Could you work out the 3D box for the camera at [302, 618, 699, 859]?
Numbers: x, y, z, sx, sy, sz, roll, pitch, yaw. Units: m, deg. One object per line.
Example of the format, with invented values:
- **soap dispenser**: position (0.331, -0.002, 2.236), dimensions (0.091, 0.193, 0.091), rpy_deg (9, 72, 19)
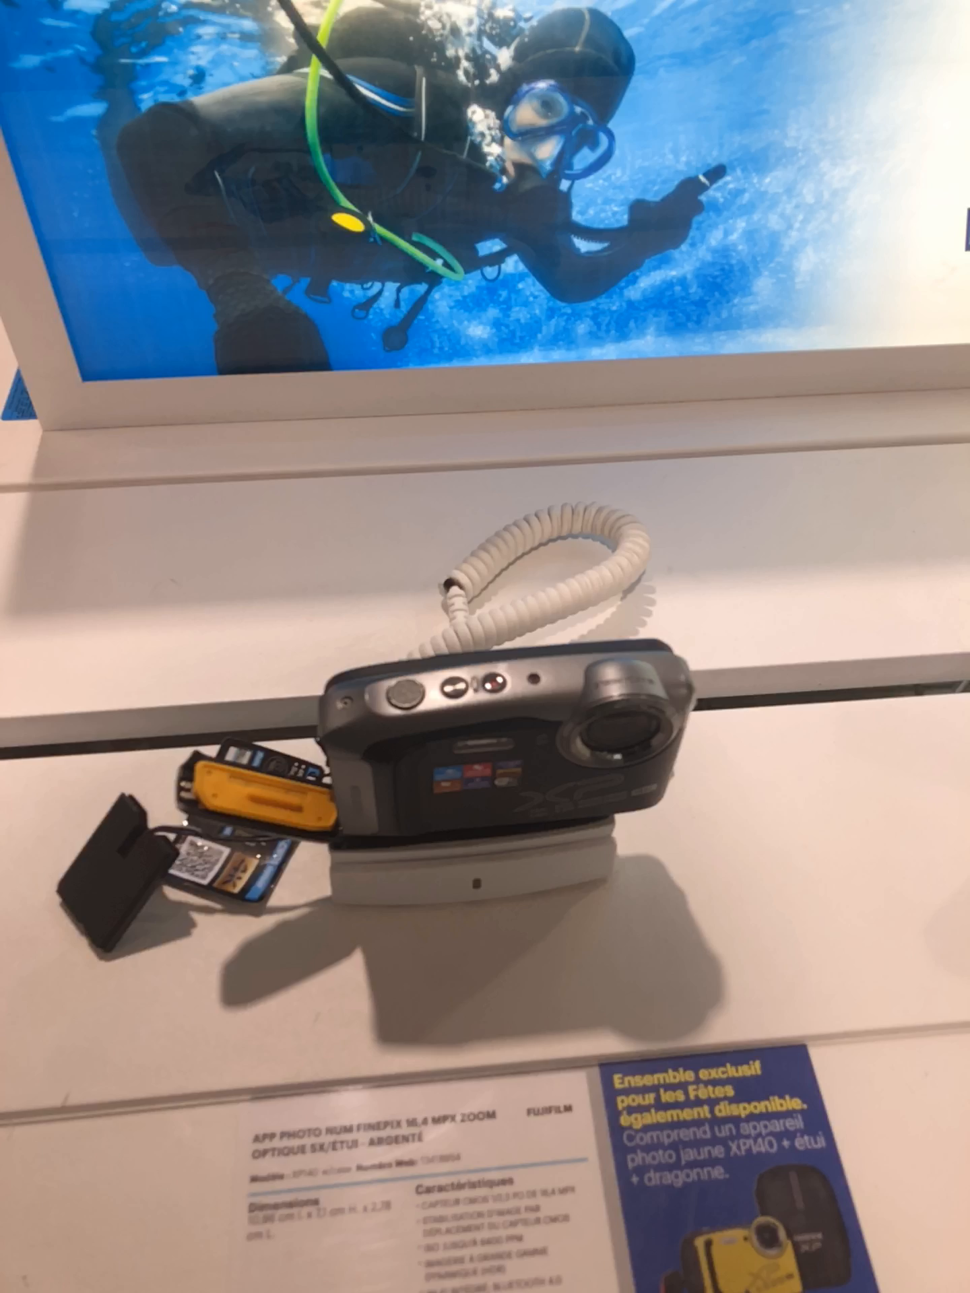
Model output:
- **camera**: position (0.004, 0.029, 0.316), dimensions (0.106, 0.069, 0.023), rpy_deg (-6, 48, -6)
